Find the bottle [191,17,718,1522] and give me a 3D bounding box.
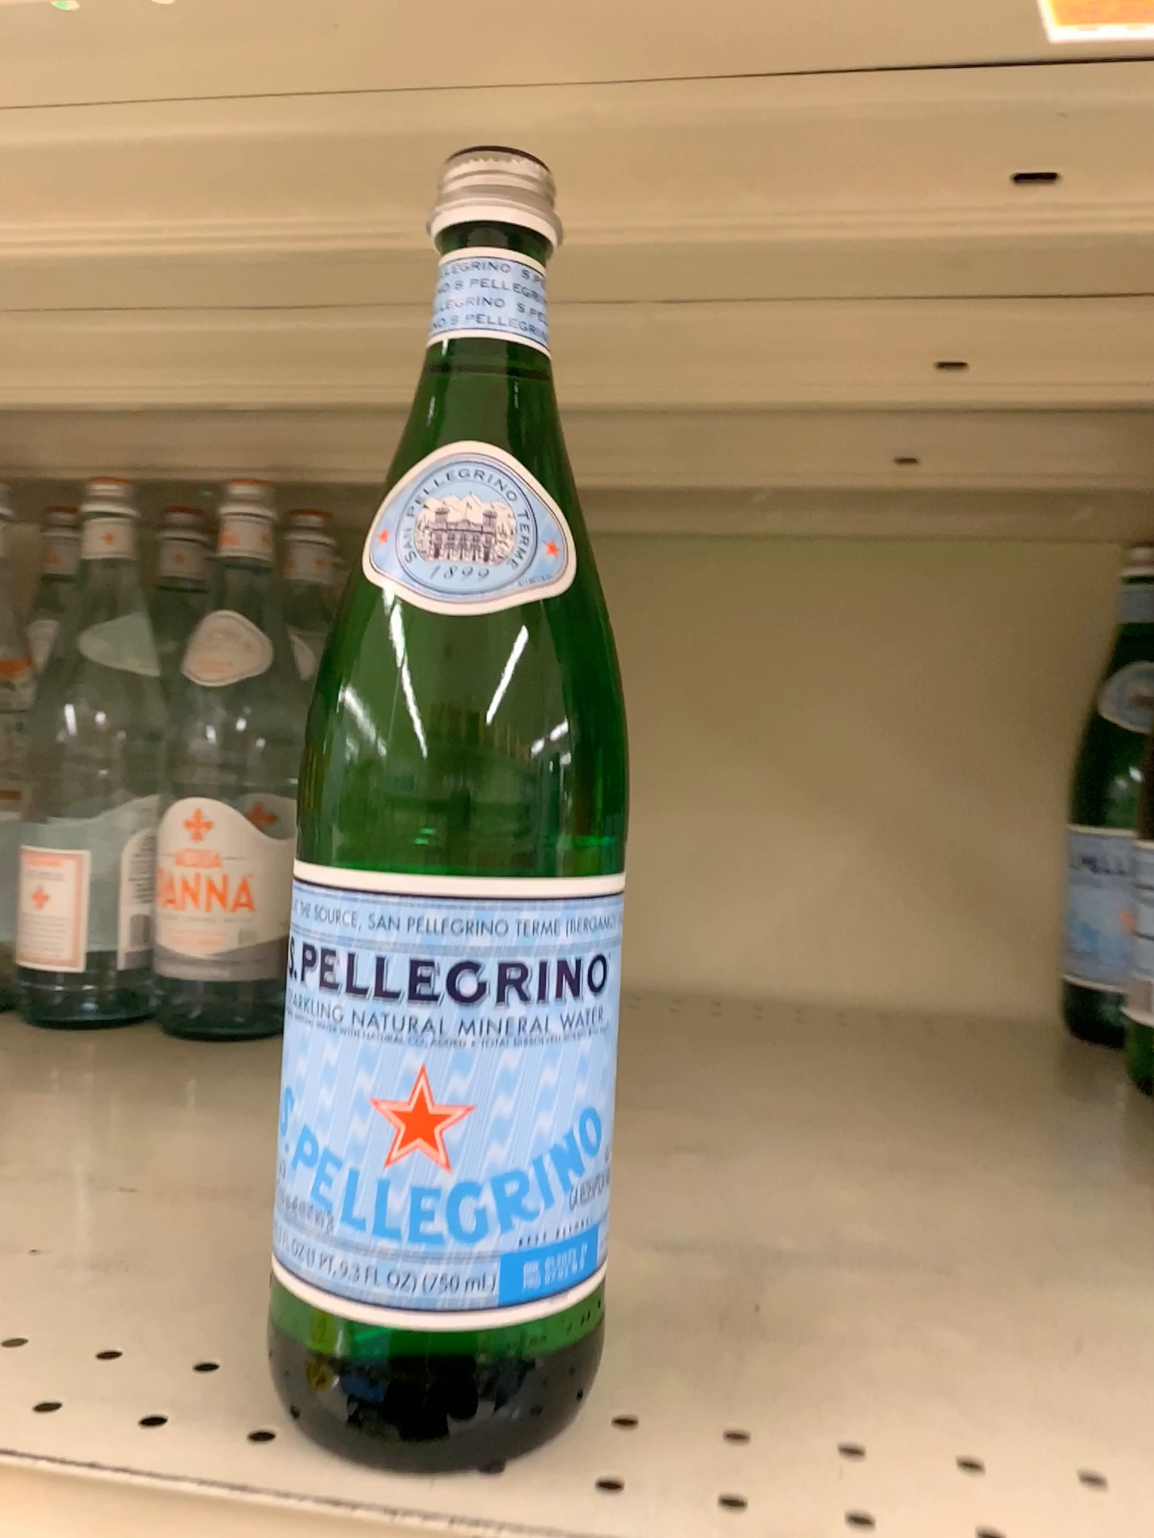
[{"bbox_3d":[-0.022,-0.002,0.282,0.090,0.290,0.090,2,1,0],"label":"bottle"}]
